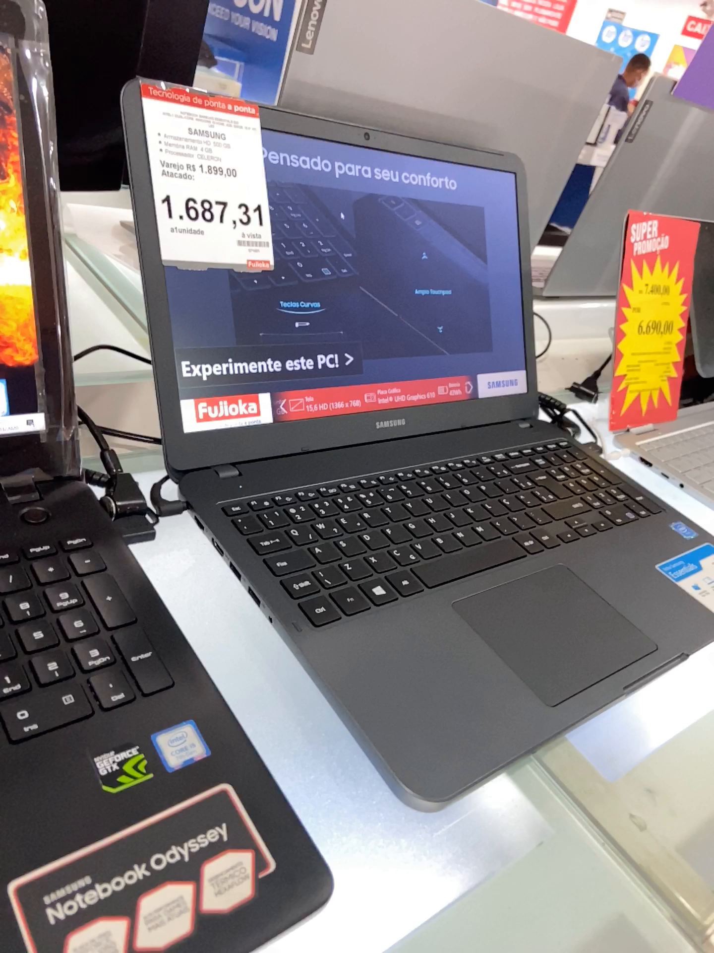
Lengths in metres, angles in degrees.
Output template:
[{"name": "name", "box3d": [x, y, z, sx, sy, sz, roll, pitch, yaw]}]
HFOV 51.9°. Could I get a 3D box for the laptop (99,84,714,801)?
[{"name": "laptop", "box3d": [0.087, -0.074, 0.483, 0.367, 0.196, 0.371, -10, 40, -38]}]
